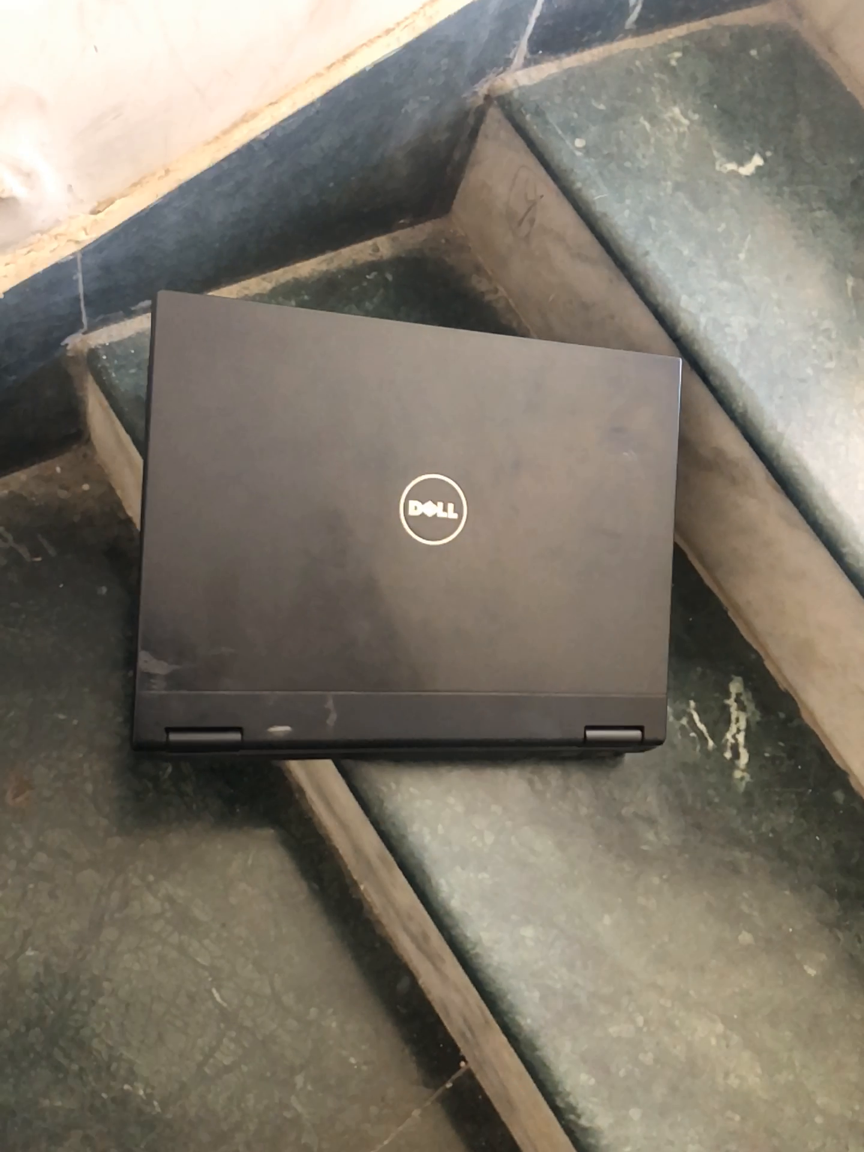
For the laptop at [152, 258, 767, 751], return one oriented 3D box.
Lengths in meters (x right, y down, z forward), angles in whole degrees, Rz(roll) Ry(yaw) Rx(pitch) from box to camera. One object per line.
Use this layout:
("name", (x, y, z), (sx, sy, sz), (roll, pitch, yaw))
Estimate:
("laptop", (0.005, -0.029, 0.532), (0.302, 0.095, 0.233), (3, 67, -19))
